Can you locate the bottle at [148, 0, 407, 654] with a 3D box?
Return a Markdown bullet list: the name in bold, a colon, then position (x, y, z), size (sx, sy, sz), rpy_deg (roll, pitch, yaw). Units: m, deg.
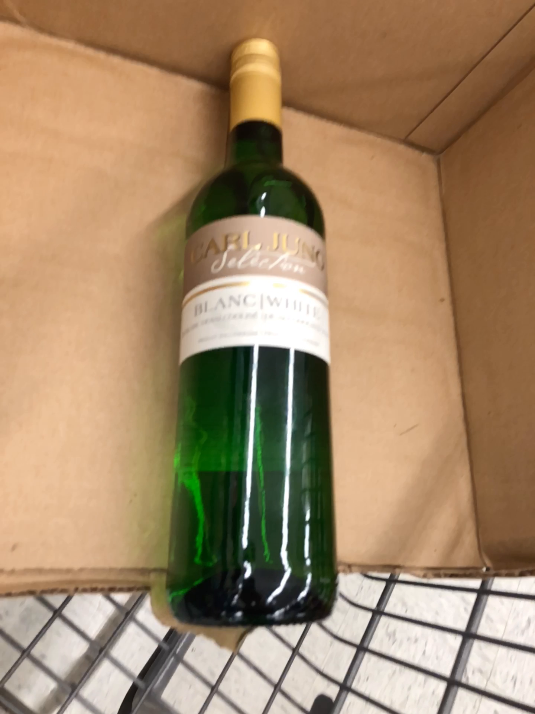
- **bottle**: position (-0.003, -0.050, 0.284), size (0.080, 0.100, 0.331), rpy_deg (5, 71, -13)
